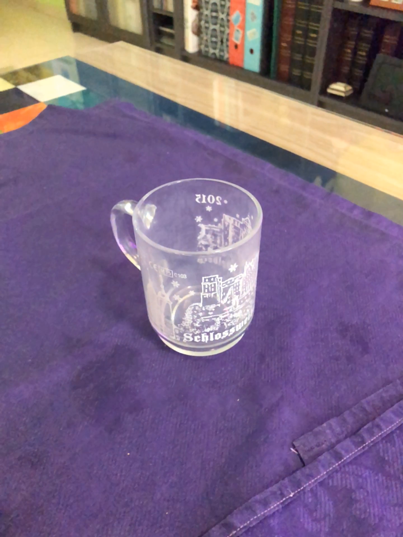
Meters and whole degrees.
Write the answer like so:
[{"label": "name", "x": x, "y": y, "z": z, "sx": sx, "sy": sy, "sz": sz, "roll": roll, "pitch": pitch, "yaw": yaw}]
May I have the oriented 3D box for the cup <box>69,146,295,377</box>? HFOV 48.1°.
[{"label": "cup", "x": -0.011, "y": -0.009, "z": 0.267, "sx": 0.100, "sy": 0.080, "sz": 0.070, "roll": 29, "pitch": 48, "yaw": 30}]
